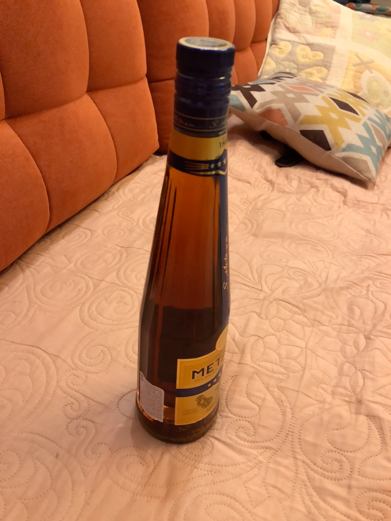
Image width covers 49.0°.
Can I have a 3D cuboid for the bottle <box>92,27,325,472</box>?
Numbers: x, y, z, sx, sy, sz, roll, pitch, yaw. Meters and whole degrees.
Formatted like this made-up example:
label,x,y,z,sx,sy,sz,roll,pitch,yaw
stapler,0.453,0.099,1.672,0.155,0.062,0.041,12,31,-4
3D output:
label,x,y,z,sx,sy,sz,roll,pitch,yaw
bottle,-0.002,0.006,0.322,0.090,0.308,0.101,25,37,26
